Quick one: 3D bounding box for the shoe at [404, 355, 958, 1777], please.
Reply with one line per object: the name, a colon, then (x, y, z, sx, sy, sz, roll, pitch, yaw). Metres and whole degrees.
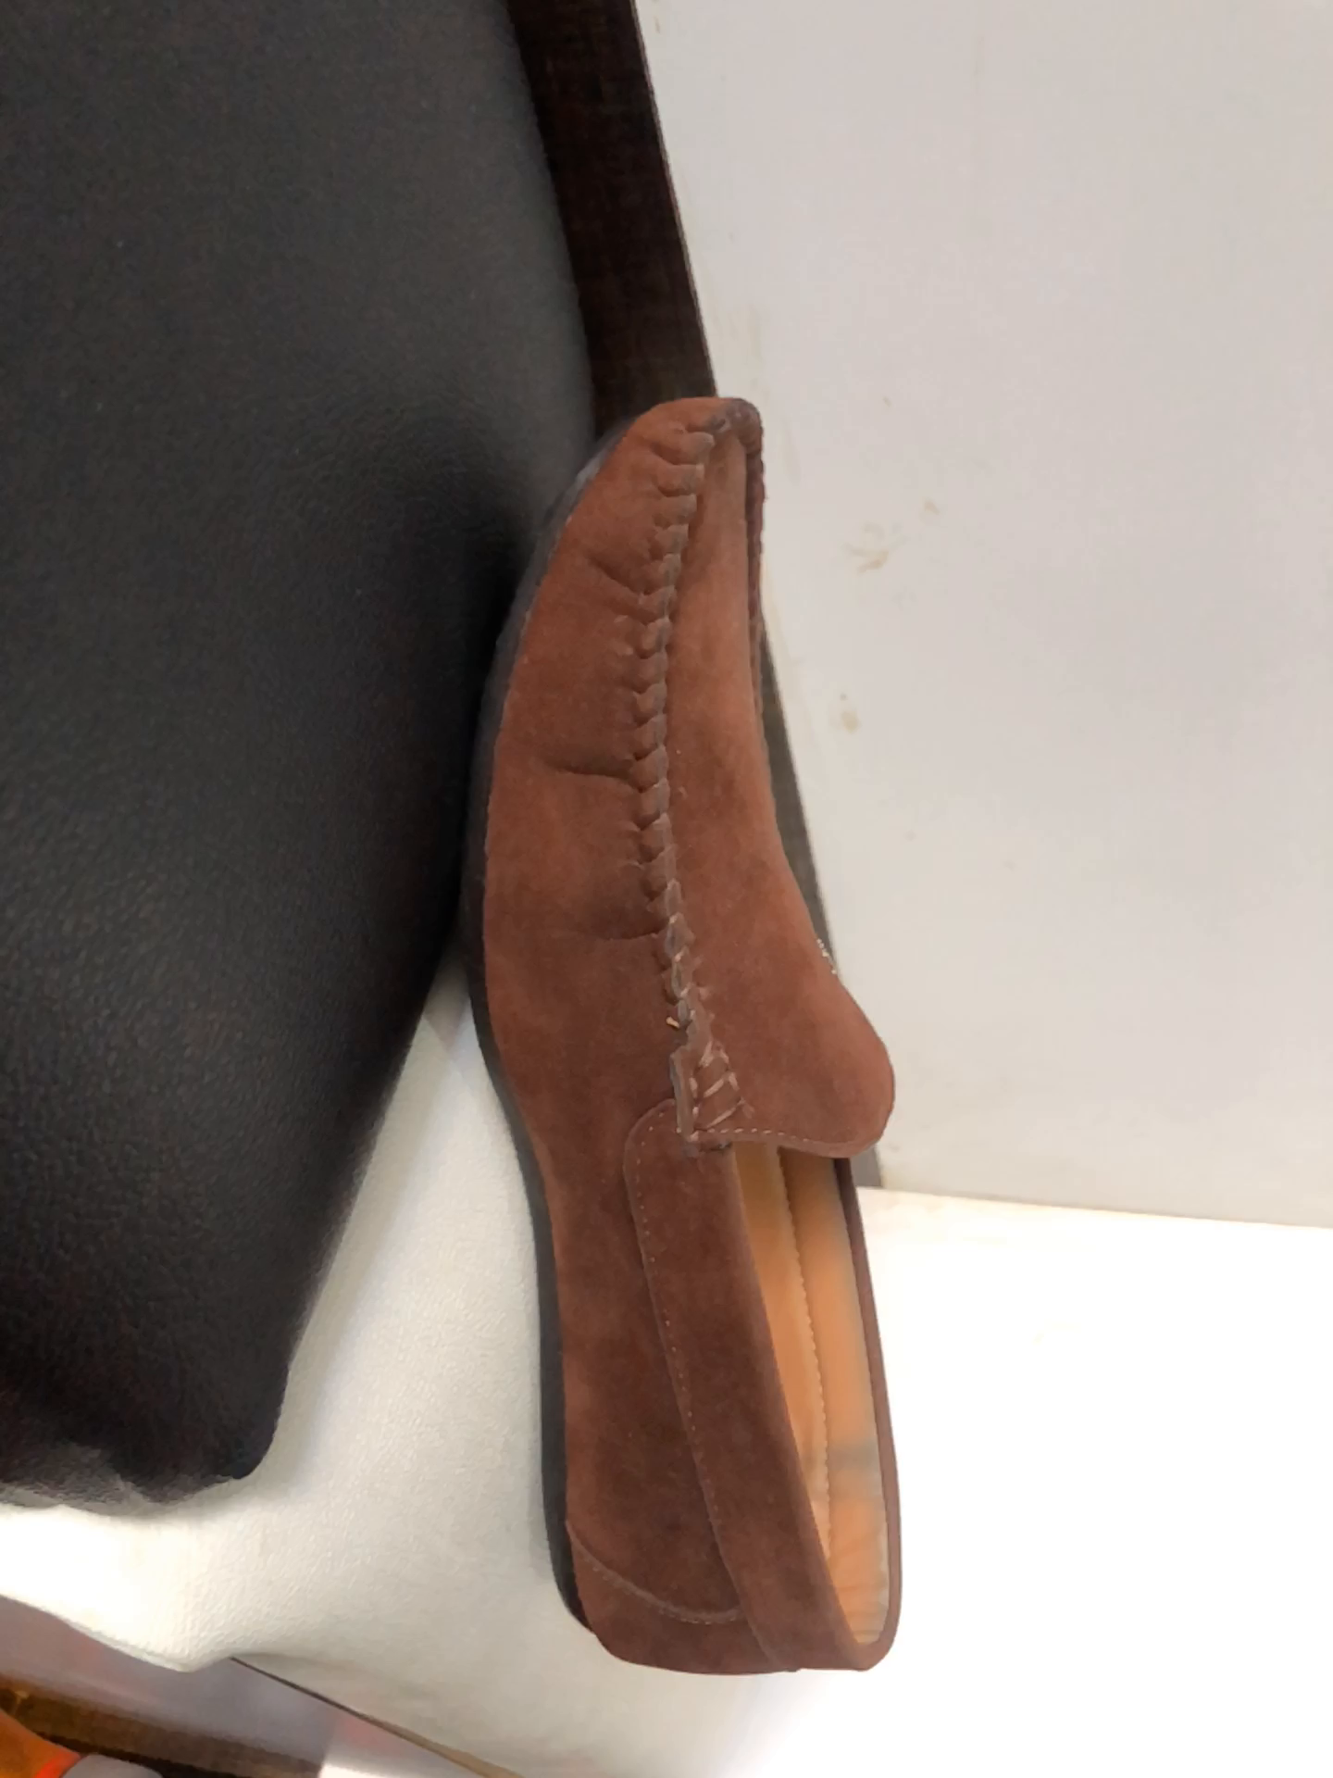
shoe: (0.020, 0.034, 0.349, 0.141, 0.080, 0.290, -46, 136, -67)
